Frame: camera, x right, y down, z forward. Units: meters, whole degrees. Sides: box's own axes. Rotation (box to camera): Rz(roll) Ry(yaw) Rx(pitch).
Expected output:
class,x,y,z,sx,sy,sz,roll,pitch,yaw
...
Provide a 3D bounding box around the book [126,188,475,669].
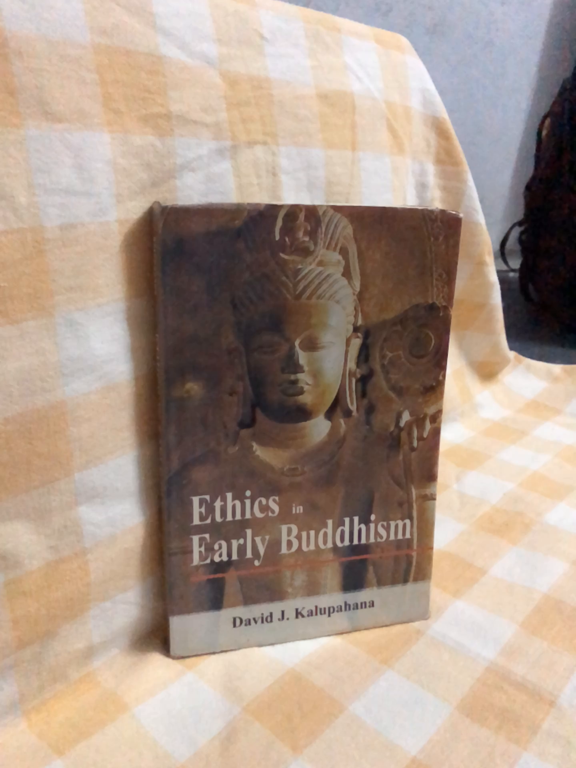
class,x,y,z,sx,sy,sz,roll,pitch,yaw
book,0.006,0.025,0.320,0.160,0.229,0.020,-3,15,-16
